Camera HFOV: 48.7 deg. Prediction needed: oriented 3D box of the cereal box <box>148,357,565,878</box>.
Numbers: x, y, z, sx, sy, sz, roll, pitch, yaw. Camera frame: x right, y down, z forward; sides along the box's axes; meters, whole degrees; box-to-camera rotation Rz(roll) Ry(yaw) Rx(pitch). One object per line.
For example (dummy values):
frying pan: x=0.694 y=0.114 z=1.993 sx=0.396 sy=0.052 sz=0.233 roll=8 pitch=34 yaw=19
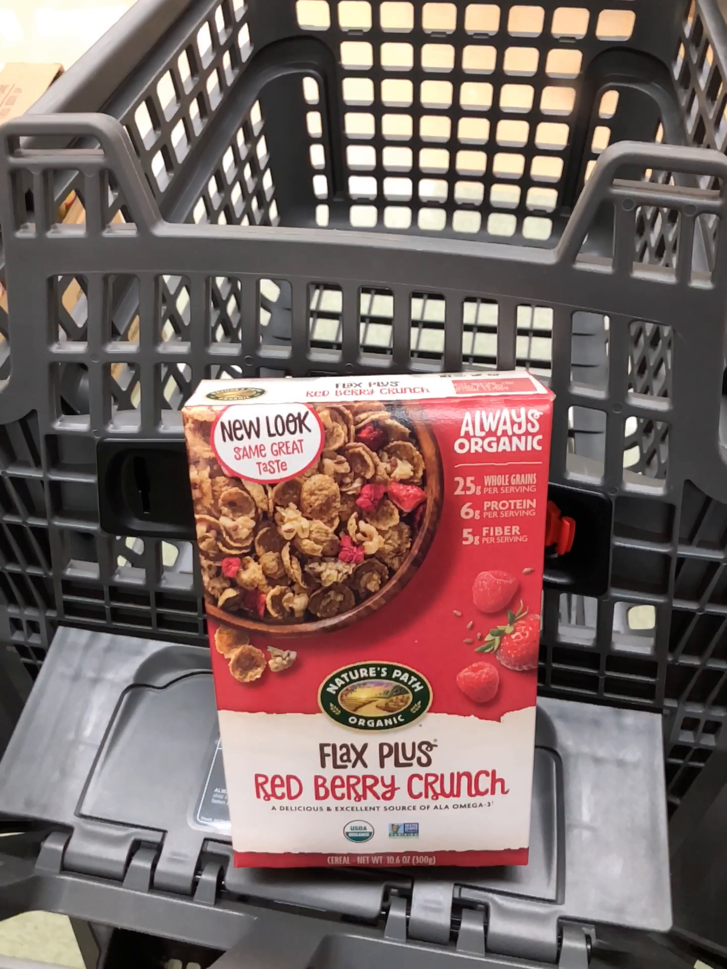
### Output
cereal box: x=0.003 y=0.070 z=0.401 sx=0.170 sy=0.250 sz=0.070 roll=-2 pitch=19 yaw=2
